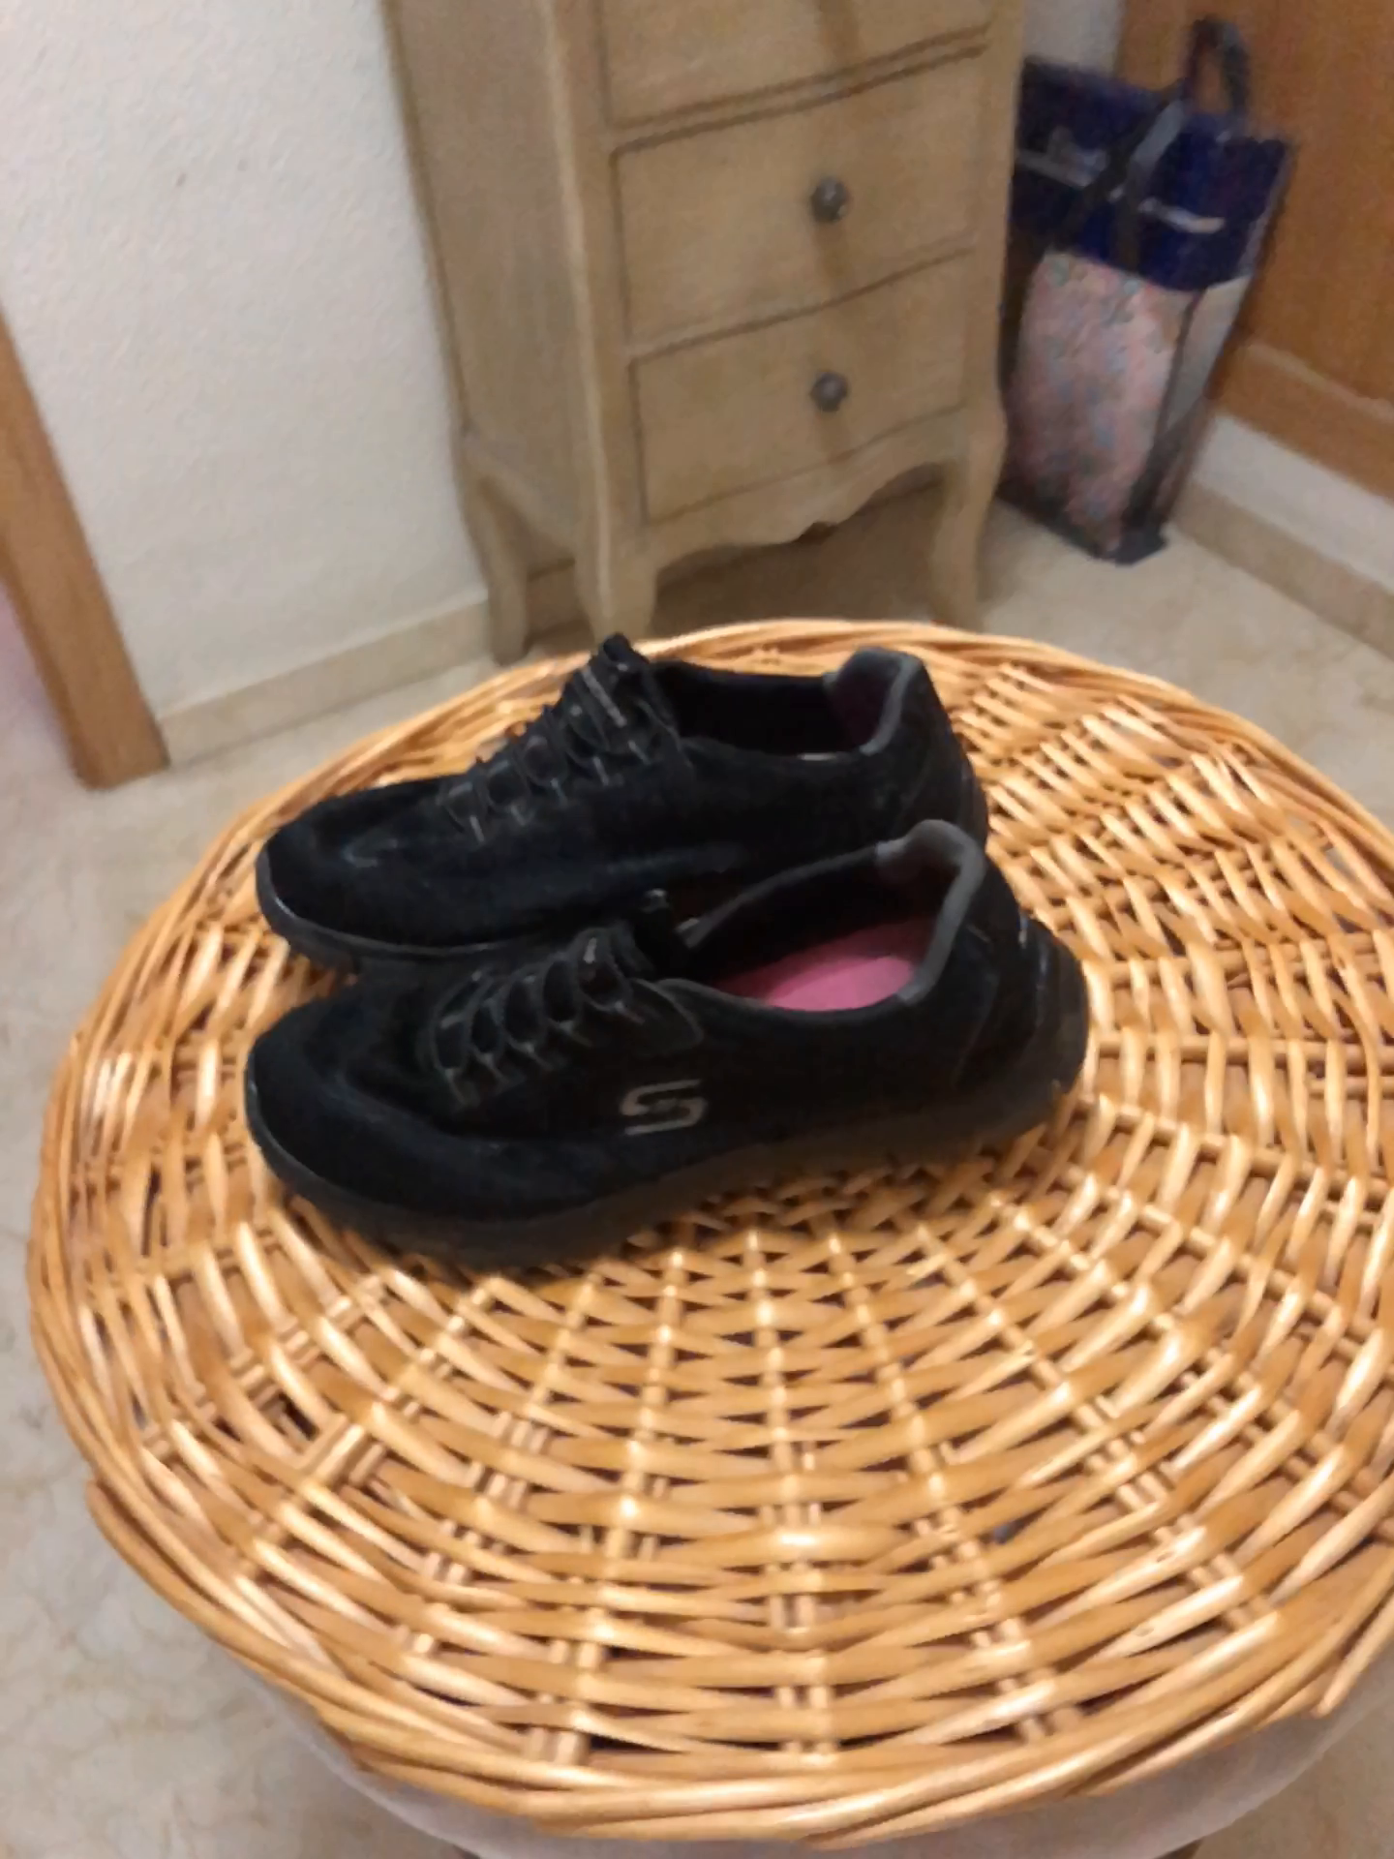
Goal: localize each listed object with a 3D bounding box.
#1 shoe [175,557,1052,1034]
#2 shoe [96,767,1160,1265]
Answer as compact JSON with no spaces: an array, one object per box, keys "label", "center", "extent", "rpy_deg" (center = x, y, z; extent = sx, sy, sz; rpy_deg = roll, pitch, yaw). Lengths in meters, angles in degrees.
[{"label":"shoe","center":[-0.028,-0.049,0.534],"extent":[0.264,0.079,0.118],"rpy_deg":[-7,44,-2]},{"label":"shoe","center":[-0.016,0.024,0.453],"extent":[0.264,0.079,0.118],"rpy_deg":[-1,44,3]}]
